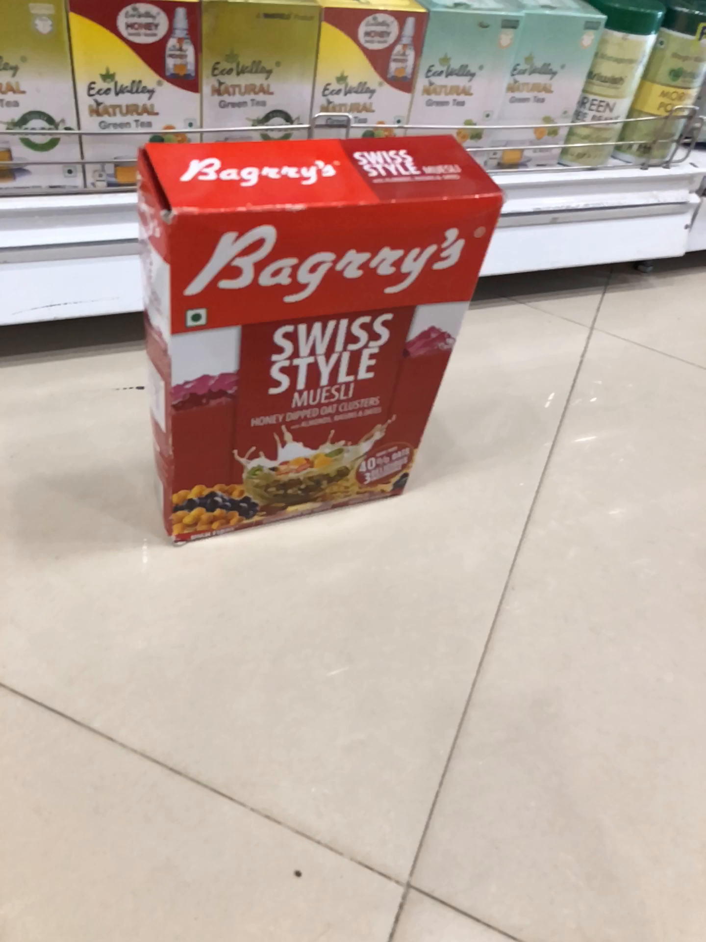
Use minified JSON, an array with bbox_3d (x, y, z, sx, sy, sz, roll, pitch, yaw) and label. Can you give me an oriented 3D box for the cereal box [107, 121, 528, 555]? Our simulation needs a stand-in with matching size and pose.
[{"bbox_3d":[-0.034,-0.075,0.482,0.201,0.248,0.080,-11,51,-21],"label":"cereal box"}]
